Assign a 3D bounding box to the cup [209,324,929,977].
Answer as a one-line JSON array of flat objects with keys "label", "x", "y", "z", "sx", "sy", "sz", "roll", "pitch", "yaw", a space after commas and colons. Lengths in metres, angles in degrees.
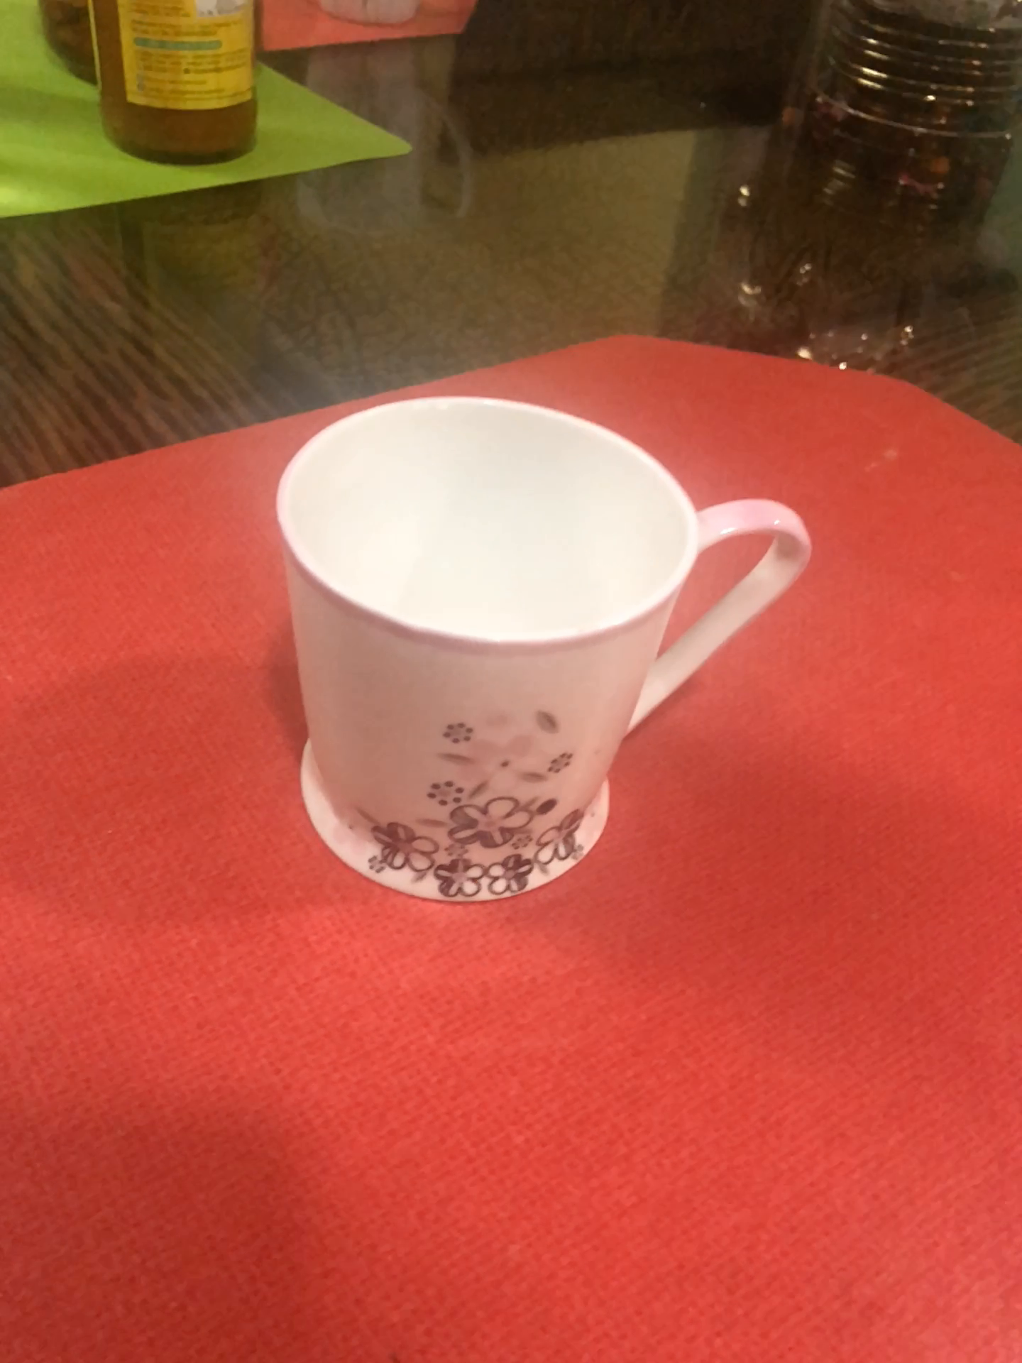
[{"label": "cup", "x": 0.004, "y": -0.010, "z": 0.217, "sx": 0.100, "sy": 0.080, "sz": 0.070, "roll": -12, "pitch": 46, "yaw": -21}]
